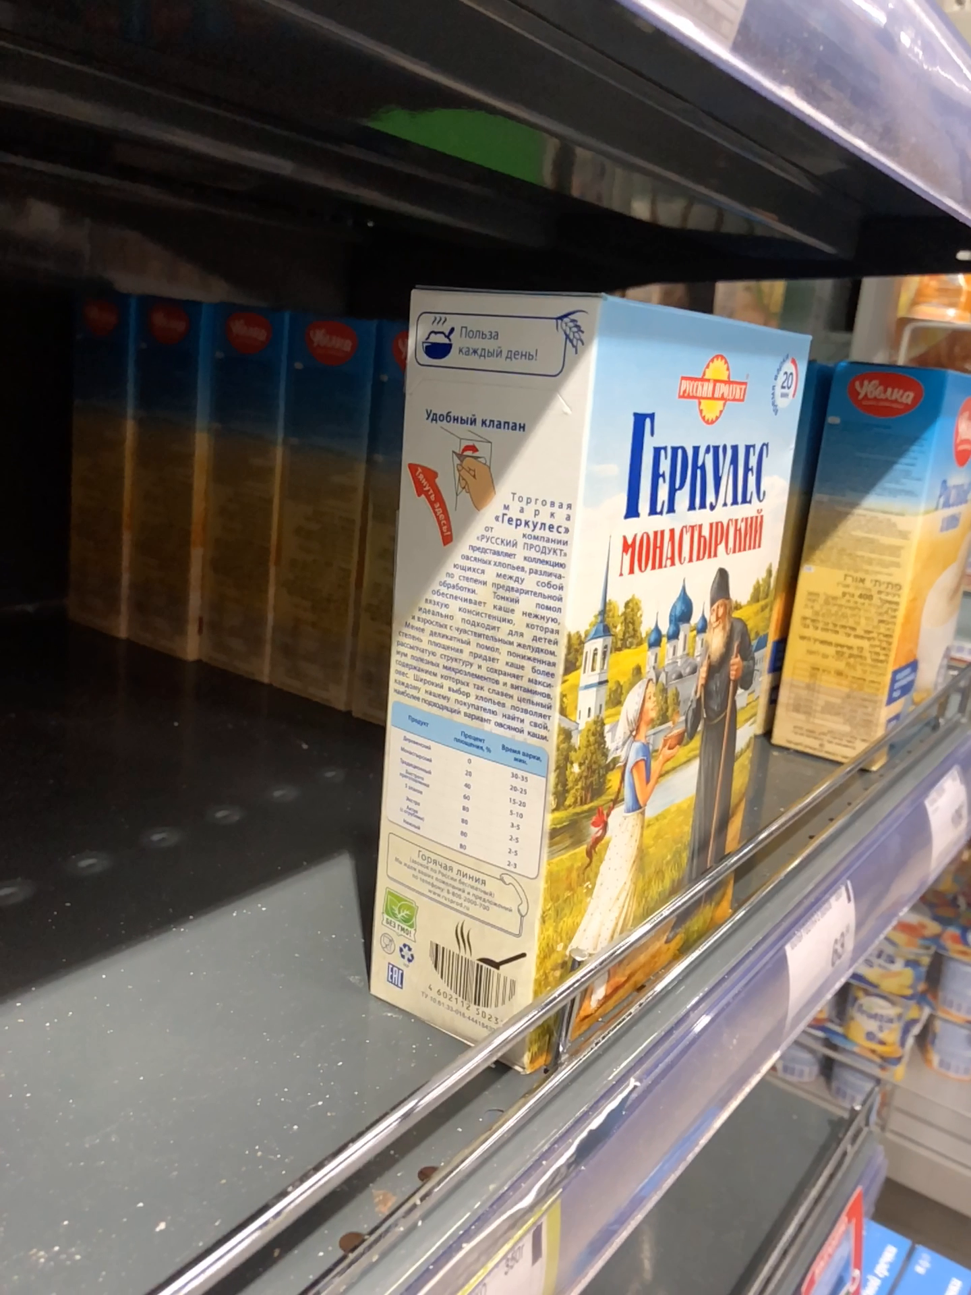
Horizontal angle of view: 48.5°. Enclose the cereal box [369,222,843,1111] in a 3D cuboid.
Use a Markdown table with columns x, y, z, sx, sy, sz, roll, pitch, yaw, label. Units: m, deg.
| x | y | z | sx | sy | sz | roll | pitch | yaw | label |
| --- | --- | --- | --- | --- | --- | --- | --- | --- | --- |
| 0.037 | -0.003 | 0.303 | 0.060 | 0.199 | 0.130 | 12 | 15 | 33 | cereal box |
